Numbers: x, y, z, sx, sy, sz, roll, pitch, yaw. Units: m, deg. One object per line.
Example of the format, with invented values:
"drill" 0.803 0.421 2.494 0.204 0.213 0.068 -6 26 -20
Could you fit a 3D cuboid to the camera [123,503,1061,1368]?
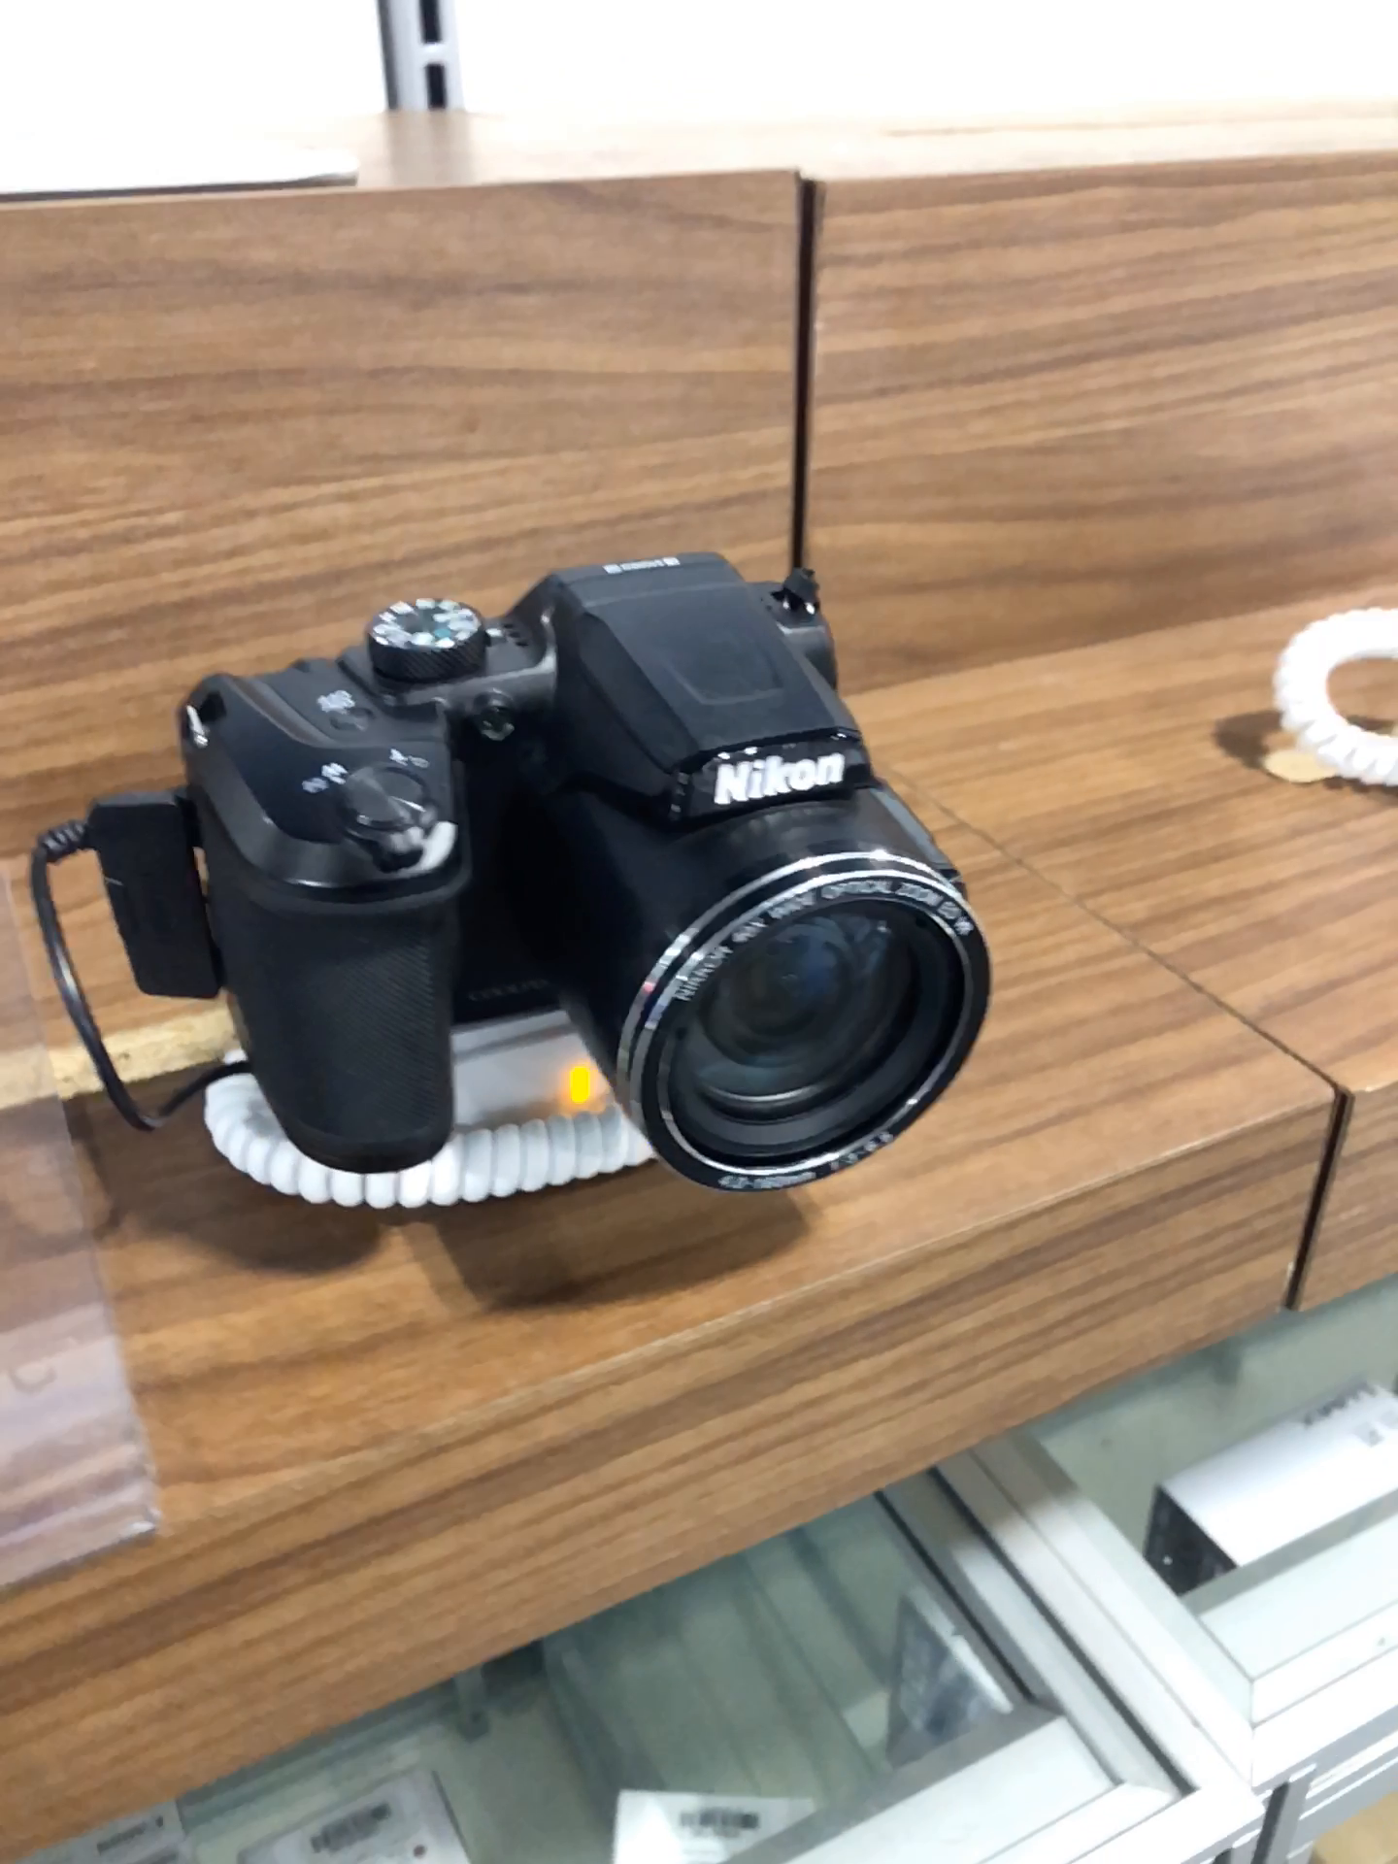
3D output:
"camera" -0.023 -0.012 0.257 0.110 0.079 0.111 -14 32 -22
